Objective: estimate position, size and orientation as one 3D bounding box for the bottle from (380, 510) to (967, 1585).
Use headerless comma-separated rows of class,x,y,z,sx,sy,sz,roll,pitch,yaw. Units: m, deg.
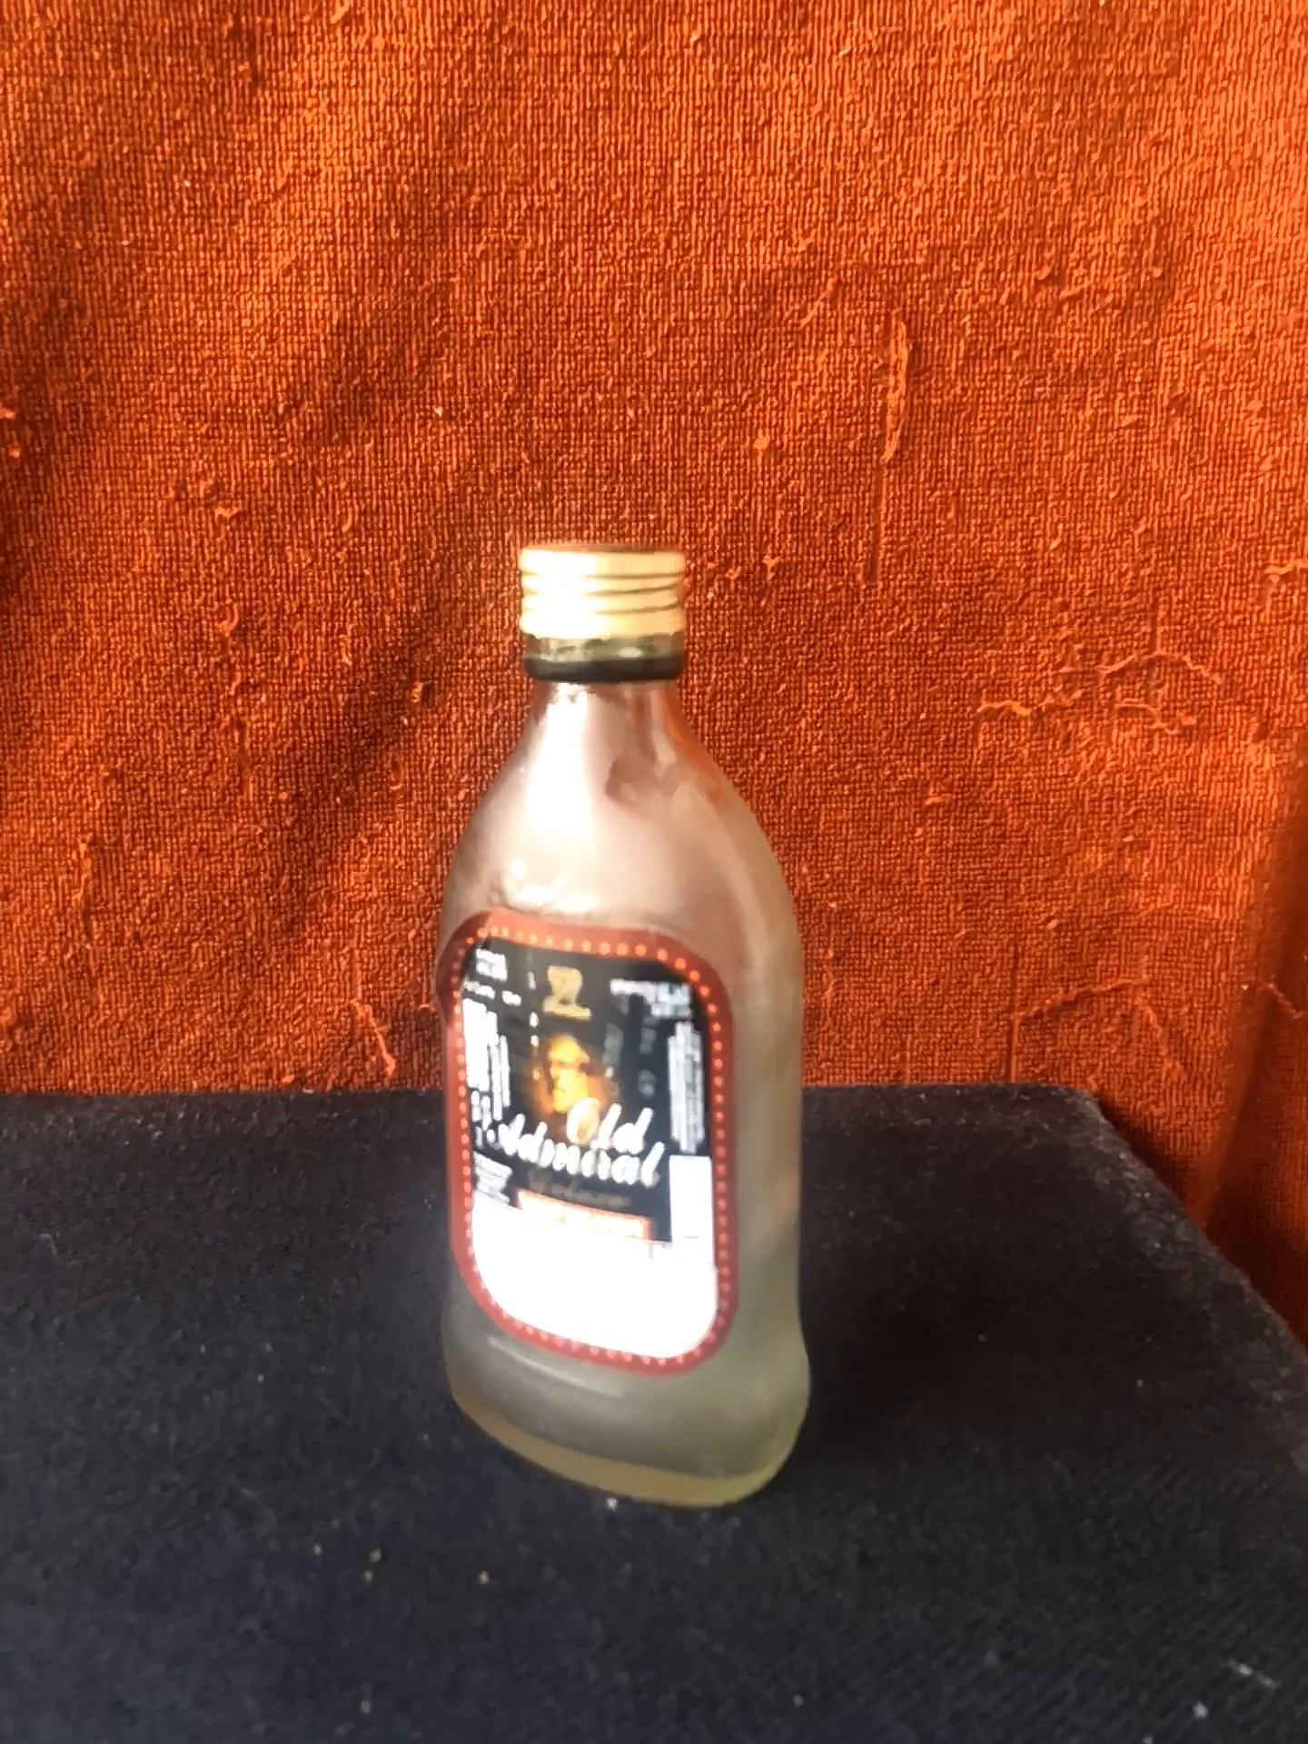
bottle,0.001,0.022,0.229,0.070,0.149,0.050,10,18,24
